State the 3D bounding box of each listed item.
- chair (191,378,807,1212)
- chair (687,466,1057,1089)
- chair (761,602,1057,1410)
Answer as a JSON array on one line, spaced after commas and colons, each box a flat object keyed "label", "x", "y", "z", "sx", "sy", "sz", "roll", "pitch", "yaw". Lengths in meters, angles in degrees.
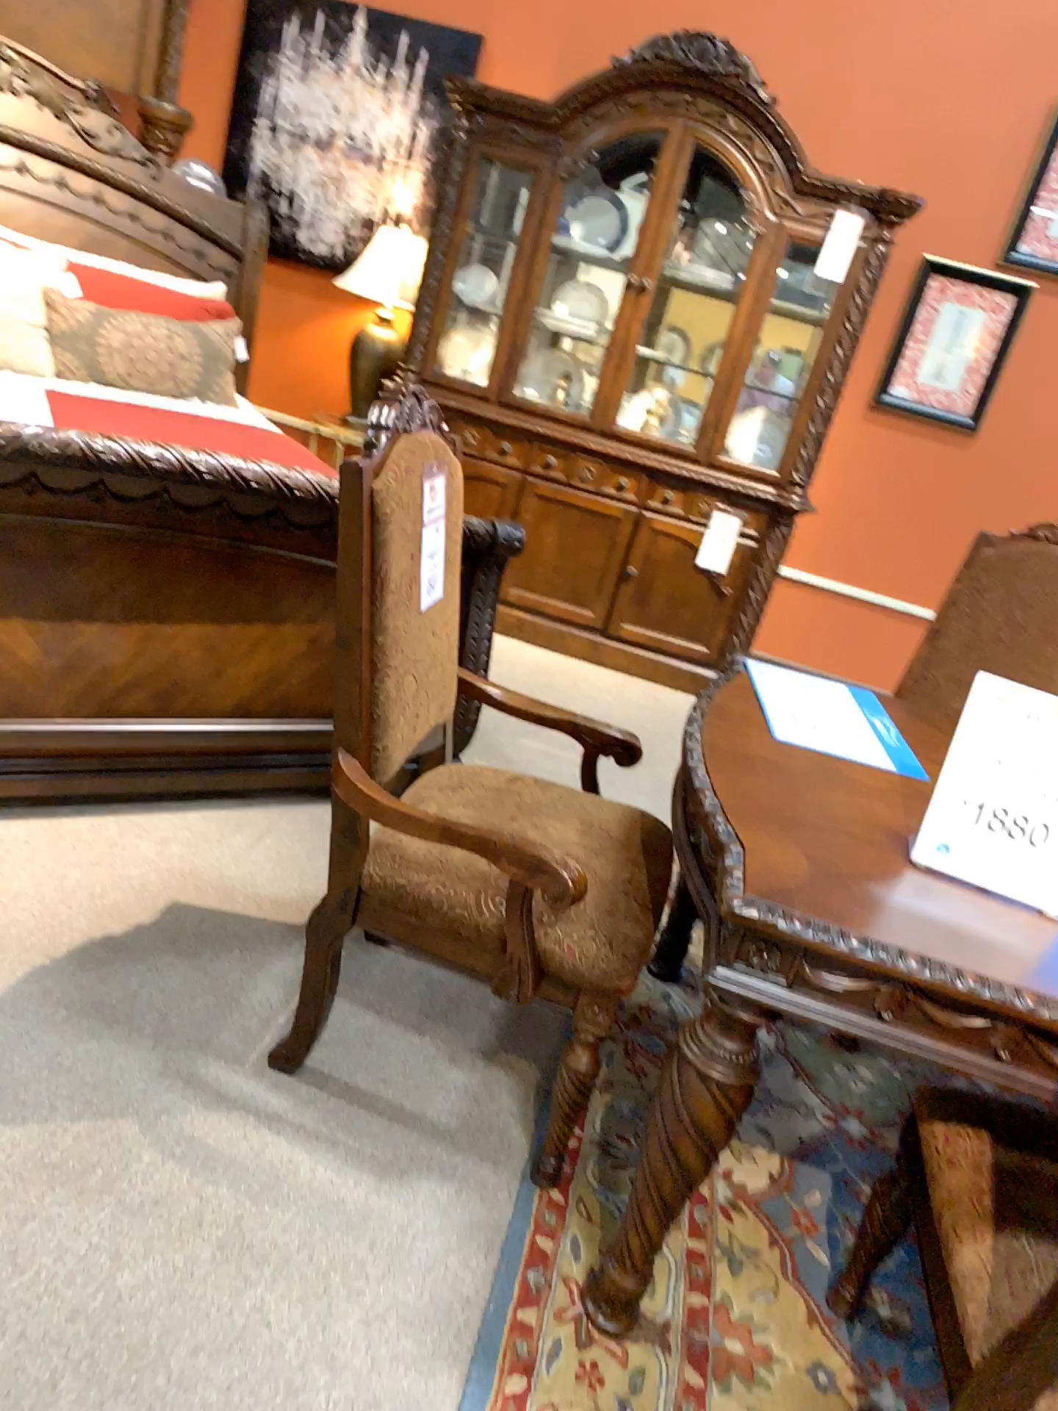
[{"label": "chair", "x": -0.044, "y": 0.107, "z": 1.842, "sx": 0.669, "sy": 1.124, "sz": 0.585, "roll": 19, "pitch": 21, "yaw": 8}, {"label": "chair", "x": 0.981, "y": 0.146, "z": 2.511, "sx": 0.670, "sy": 1.184, "sz": 0.605, "roll": -1, "pitch": 26, "yaw": -37}, {"label": "chair", "x": 0.729, "y": 0.569, "z": 1.177, "sx": 0.563, "sy": 1.134, "sz": 0.622, "roll": 19, "pitch": 21, "yaw": 9}]
